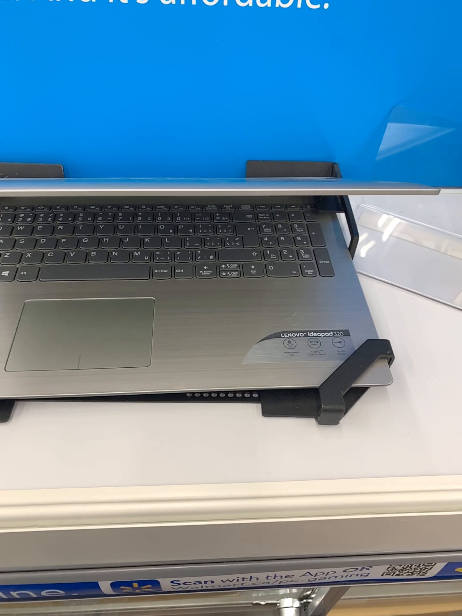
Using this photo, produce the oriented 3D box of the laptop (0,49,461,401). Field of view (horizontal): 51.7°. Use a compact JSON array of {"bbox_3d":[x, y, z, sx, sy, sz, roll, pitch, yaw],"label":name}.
[{"bbox_3d":[-0.063,-0.069,0.325,0.324,0.110,0.220,-1,49,-5],"label":"laptop"}]
